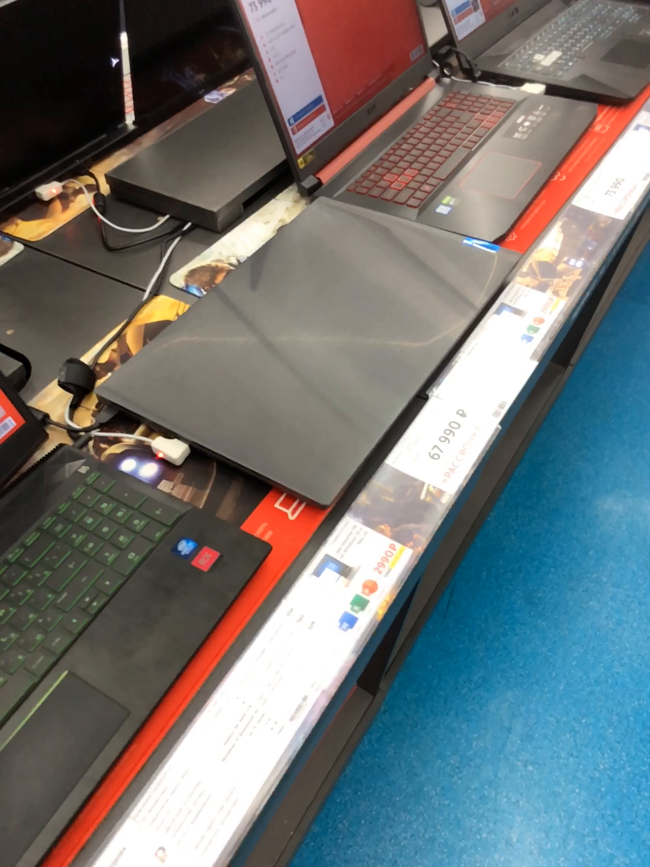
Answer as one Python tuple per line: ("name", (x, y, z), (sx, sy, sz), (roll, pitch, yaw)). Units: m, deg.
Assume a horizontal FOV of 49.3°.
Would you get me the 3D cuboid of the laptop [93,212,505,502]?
("laptop", (-0.011, -0.114, 0.756), (0.269, 0.002, 0.390), (22, 53, 23))
